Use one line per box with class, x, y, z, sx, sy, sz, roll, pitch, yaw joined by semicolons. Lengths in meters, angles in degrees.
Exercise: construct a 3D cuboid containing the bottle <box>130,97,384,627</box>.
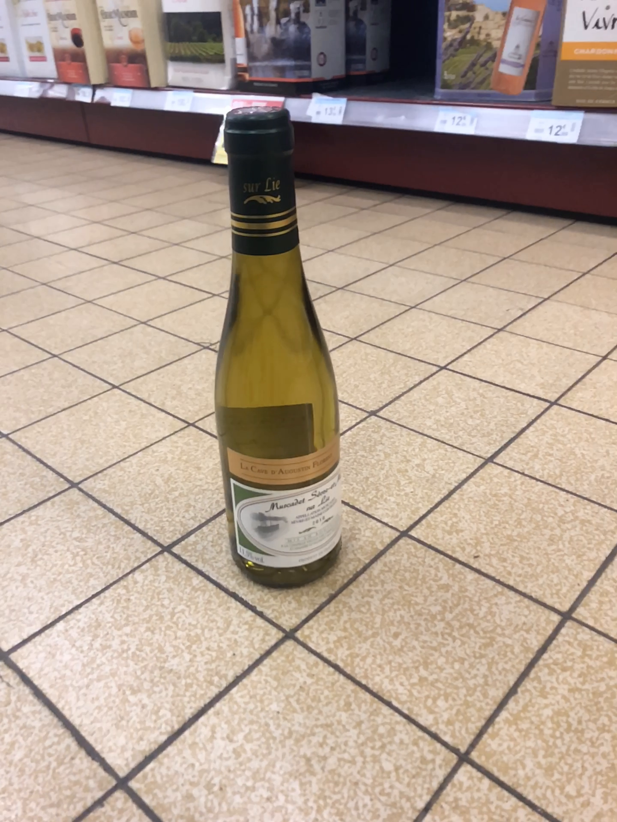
bottle;-0.020;-0.020;0.338;0.080;0.239;0.080;-2;29;1
